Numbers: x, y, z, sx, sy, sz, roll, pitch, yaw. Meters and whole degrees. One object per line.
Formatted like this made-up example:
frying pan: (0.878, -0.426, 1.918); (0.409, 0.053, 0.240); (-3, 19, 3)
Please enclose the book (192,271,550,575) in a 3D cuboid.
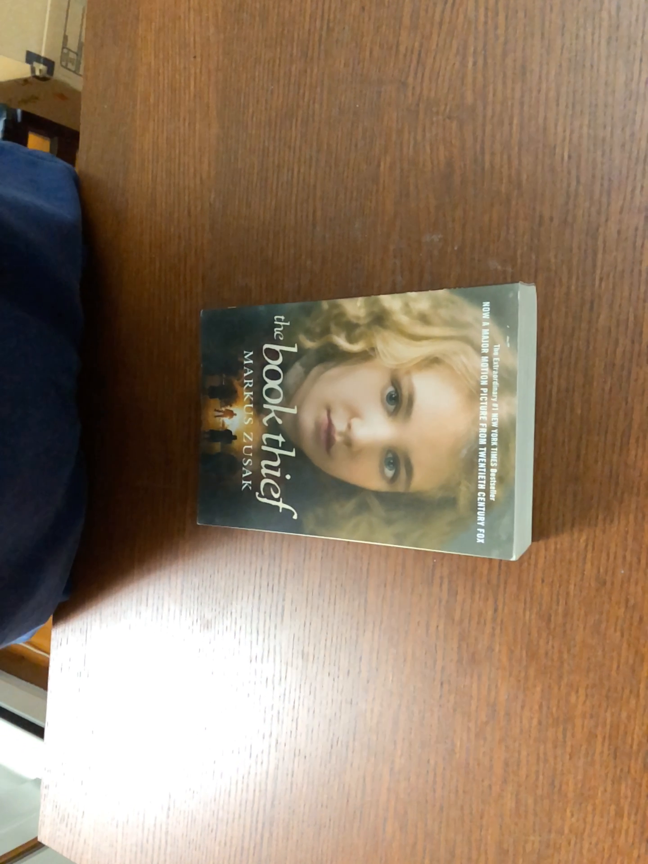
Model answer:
book: (0.016, -0.008, 0.424); (0.221, 0.030, 0.150); (2, 91, 32)
